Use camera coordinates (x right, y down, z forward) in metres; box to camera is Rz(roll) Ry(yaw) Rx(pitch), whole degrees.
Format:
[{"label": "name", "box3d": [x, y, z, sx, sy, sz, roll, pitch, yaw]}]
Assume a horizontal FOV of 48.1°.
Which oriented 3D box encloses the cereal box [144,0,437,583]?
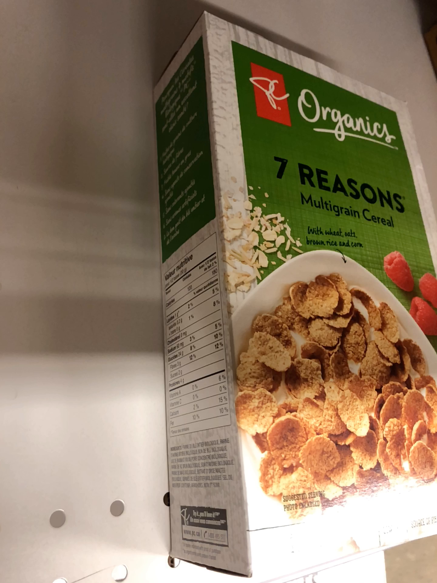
[{"label": "cereal box", "box3d": [0.059, -0.006, 0.260, 0.181, 0.060, 0.260, 8, 67, -30]}]
